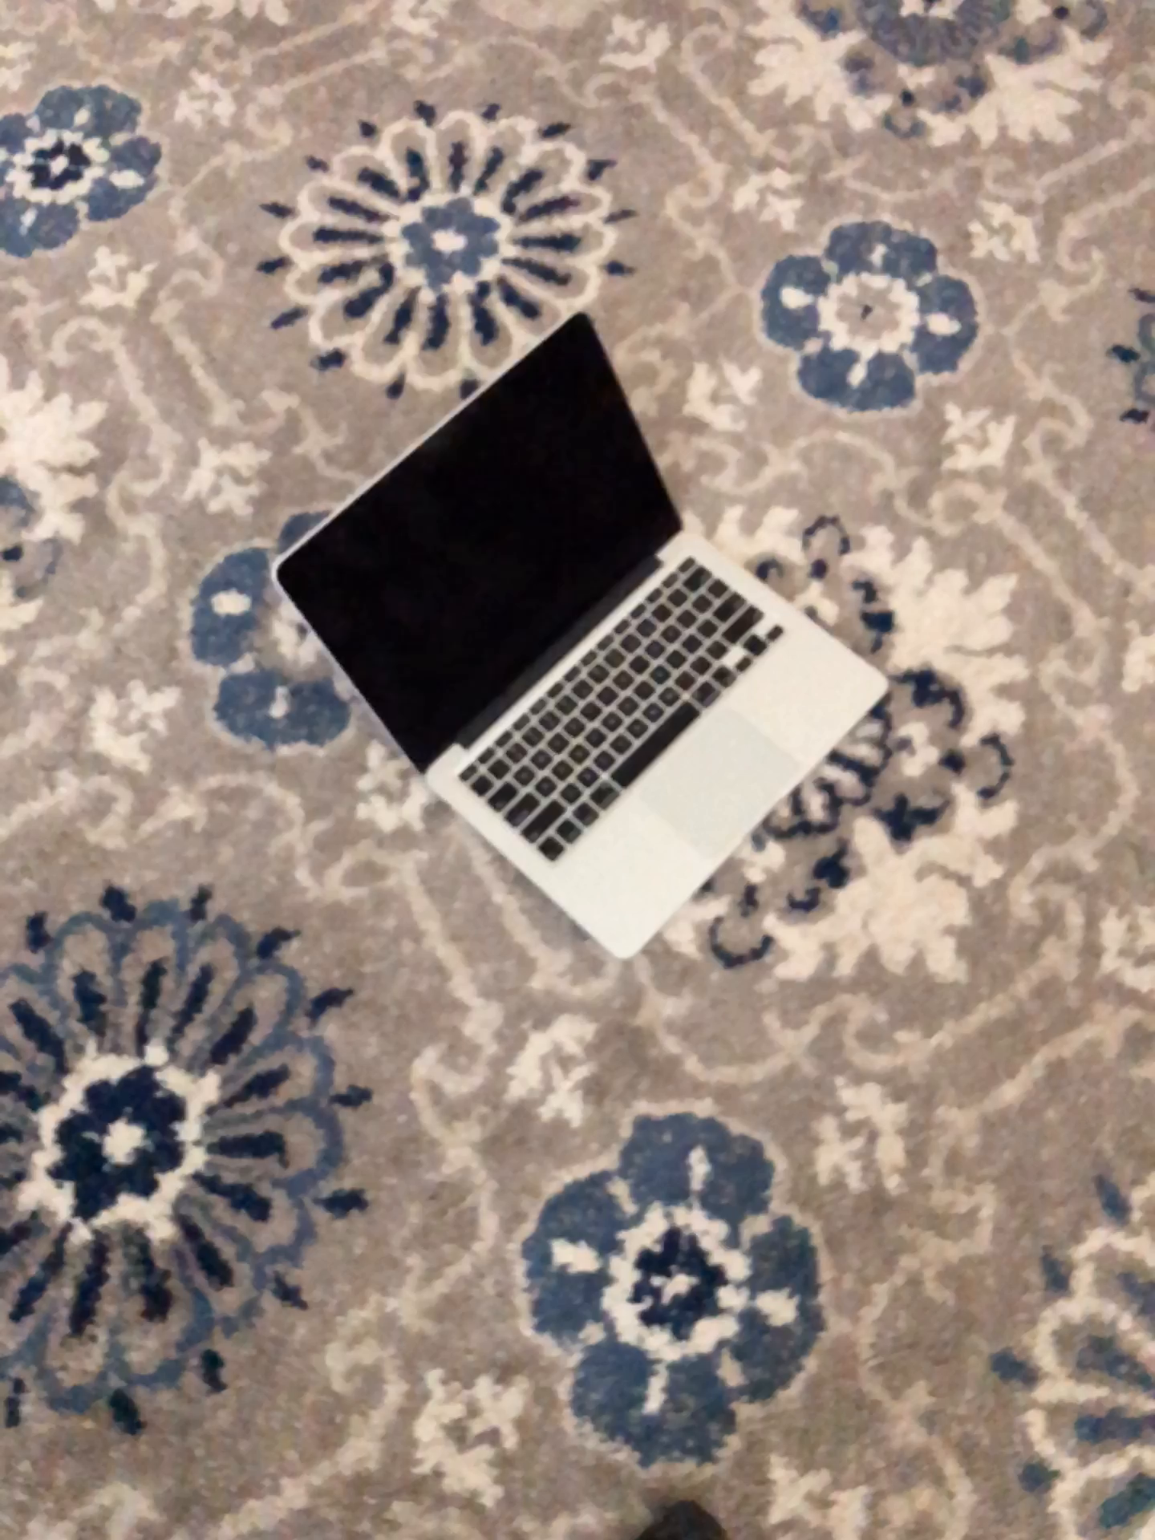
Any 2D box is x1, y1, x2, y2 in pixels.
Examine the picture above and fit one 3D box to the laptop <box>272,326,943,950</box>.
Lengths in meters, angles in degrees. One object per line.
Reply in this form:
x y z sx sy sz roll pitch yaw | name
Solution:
0.020 -0.099 0.935 0.322 0.171 0.300 40 72 18 | laptop
